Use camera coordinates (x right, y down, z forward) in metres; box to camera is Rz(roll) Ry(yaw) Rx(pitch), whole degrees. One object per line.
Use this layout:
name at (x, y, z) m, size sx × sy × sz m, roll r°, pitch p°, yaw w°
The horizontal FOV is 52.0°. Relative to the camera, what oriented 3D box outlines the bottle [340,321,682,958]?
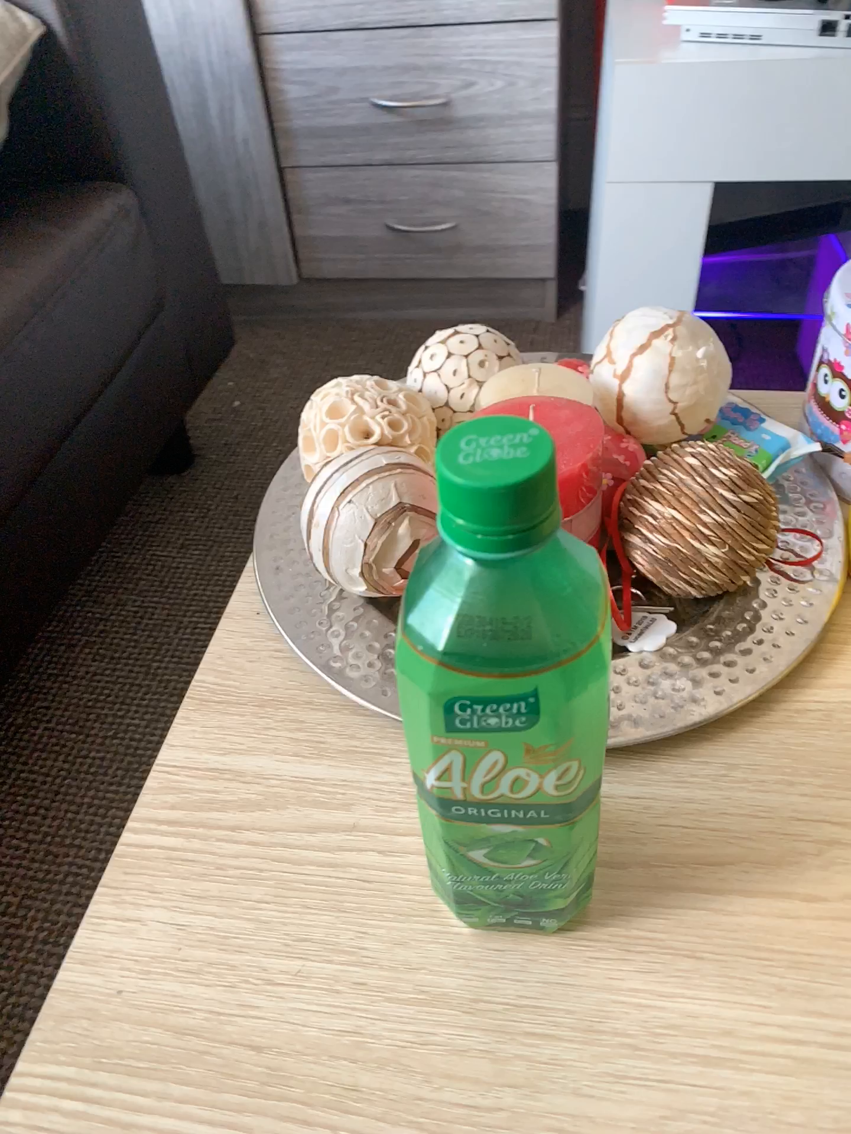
bottle at (0.029, 0.040, 0.278) m, size 0.070 × 0.218 × 0.071 m, roll -3°, pitch 42°, yaw 3°
